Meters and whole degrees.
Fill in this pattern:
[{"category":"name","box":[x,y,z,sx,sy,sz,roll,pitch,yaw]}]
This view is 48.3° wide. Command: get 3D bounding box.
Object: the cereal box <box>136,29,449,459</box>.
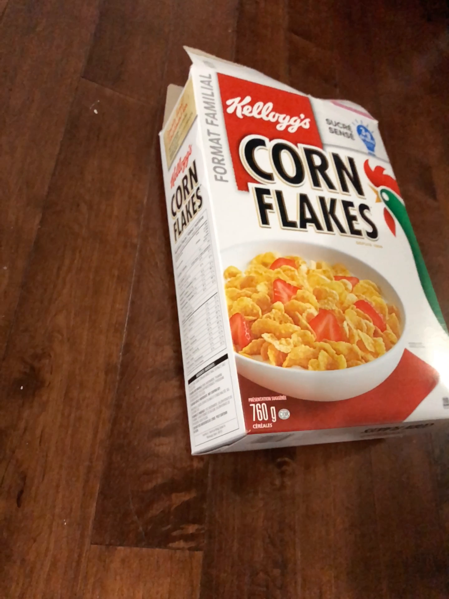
[{"category":"cereal box","box":[0.063,-0.055,0.499,0.261,0.090,0.380,4,65,-27]}]
